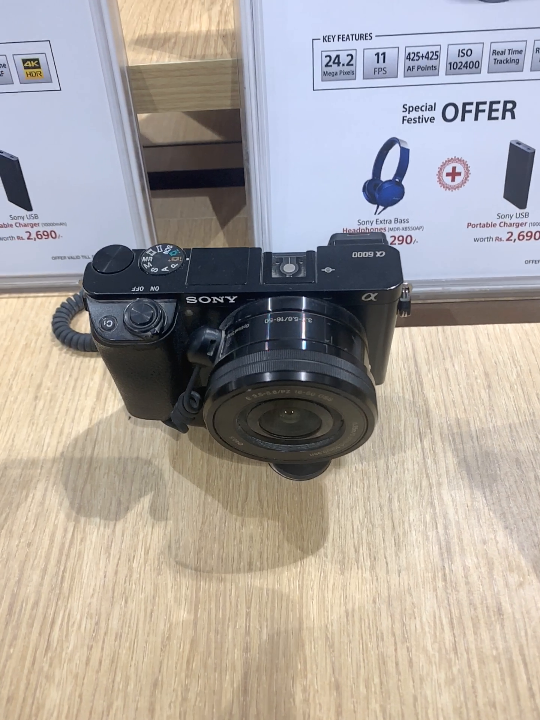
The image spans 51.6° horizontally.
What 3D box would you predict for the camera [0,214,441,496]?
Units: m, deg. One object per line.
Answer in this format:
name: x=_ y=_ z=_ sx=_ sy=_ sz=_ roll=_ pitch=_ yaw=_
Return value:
camera: x=-0.012 y=0.000 z=0.199 sx=0.120 sy=0.070 sz=0.070 roll=0 pitch=52 yaw=4
